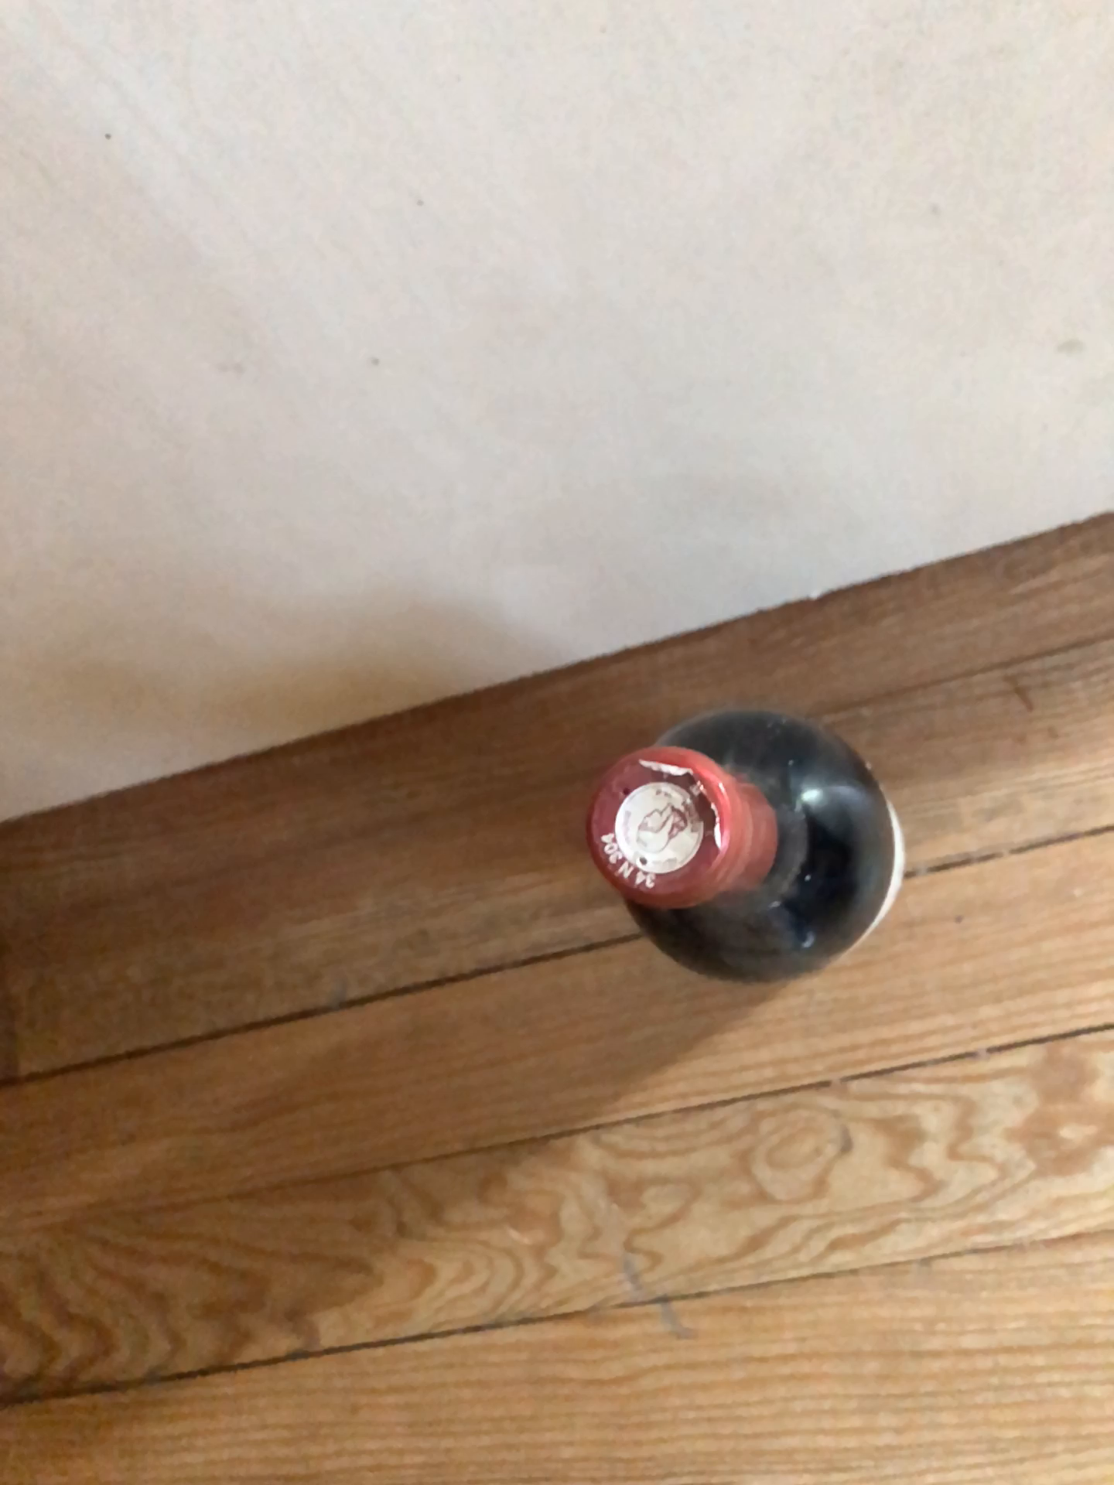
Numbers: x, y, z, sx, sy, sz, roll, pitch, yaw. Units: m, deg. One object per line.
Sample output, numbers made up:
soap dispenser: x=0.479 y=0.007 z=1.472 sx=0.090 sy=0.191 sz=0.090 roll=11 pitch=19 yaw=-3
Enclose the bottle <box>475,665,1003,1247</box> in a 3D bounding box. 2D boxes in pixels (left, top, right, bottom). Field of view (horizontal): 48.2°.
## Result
bottle: x=0.068 y=0.048 z=0.351 sx=0.070 sy=0.290 sz=0.080 roll=16 pitch=89 yaw=16
